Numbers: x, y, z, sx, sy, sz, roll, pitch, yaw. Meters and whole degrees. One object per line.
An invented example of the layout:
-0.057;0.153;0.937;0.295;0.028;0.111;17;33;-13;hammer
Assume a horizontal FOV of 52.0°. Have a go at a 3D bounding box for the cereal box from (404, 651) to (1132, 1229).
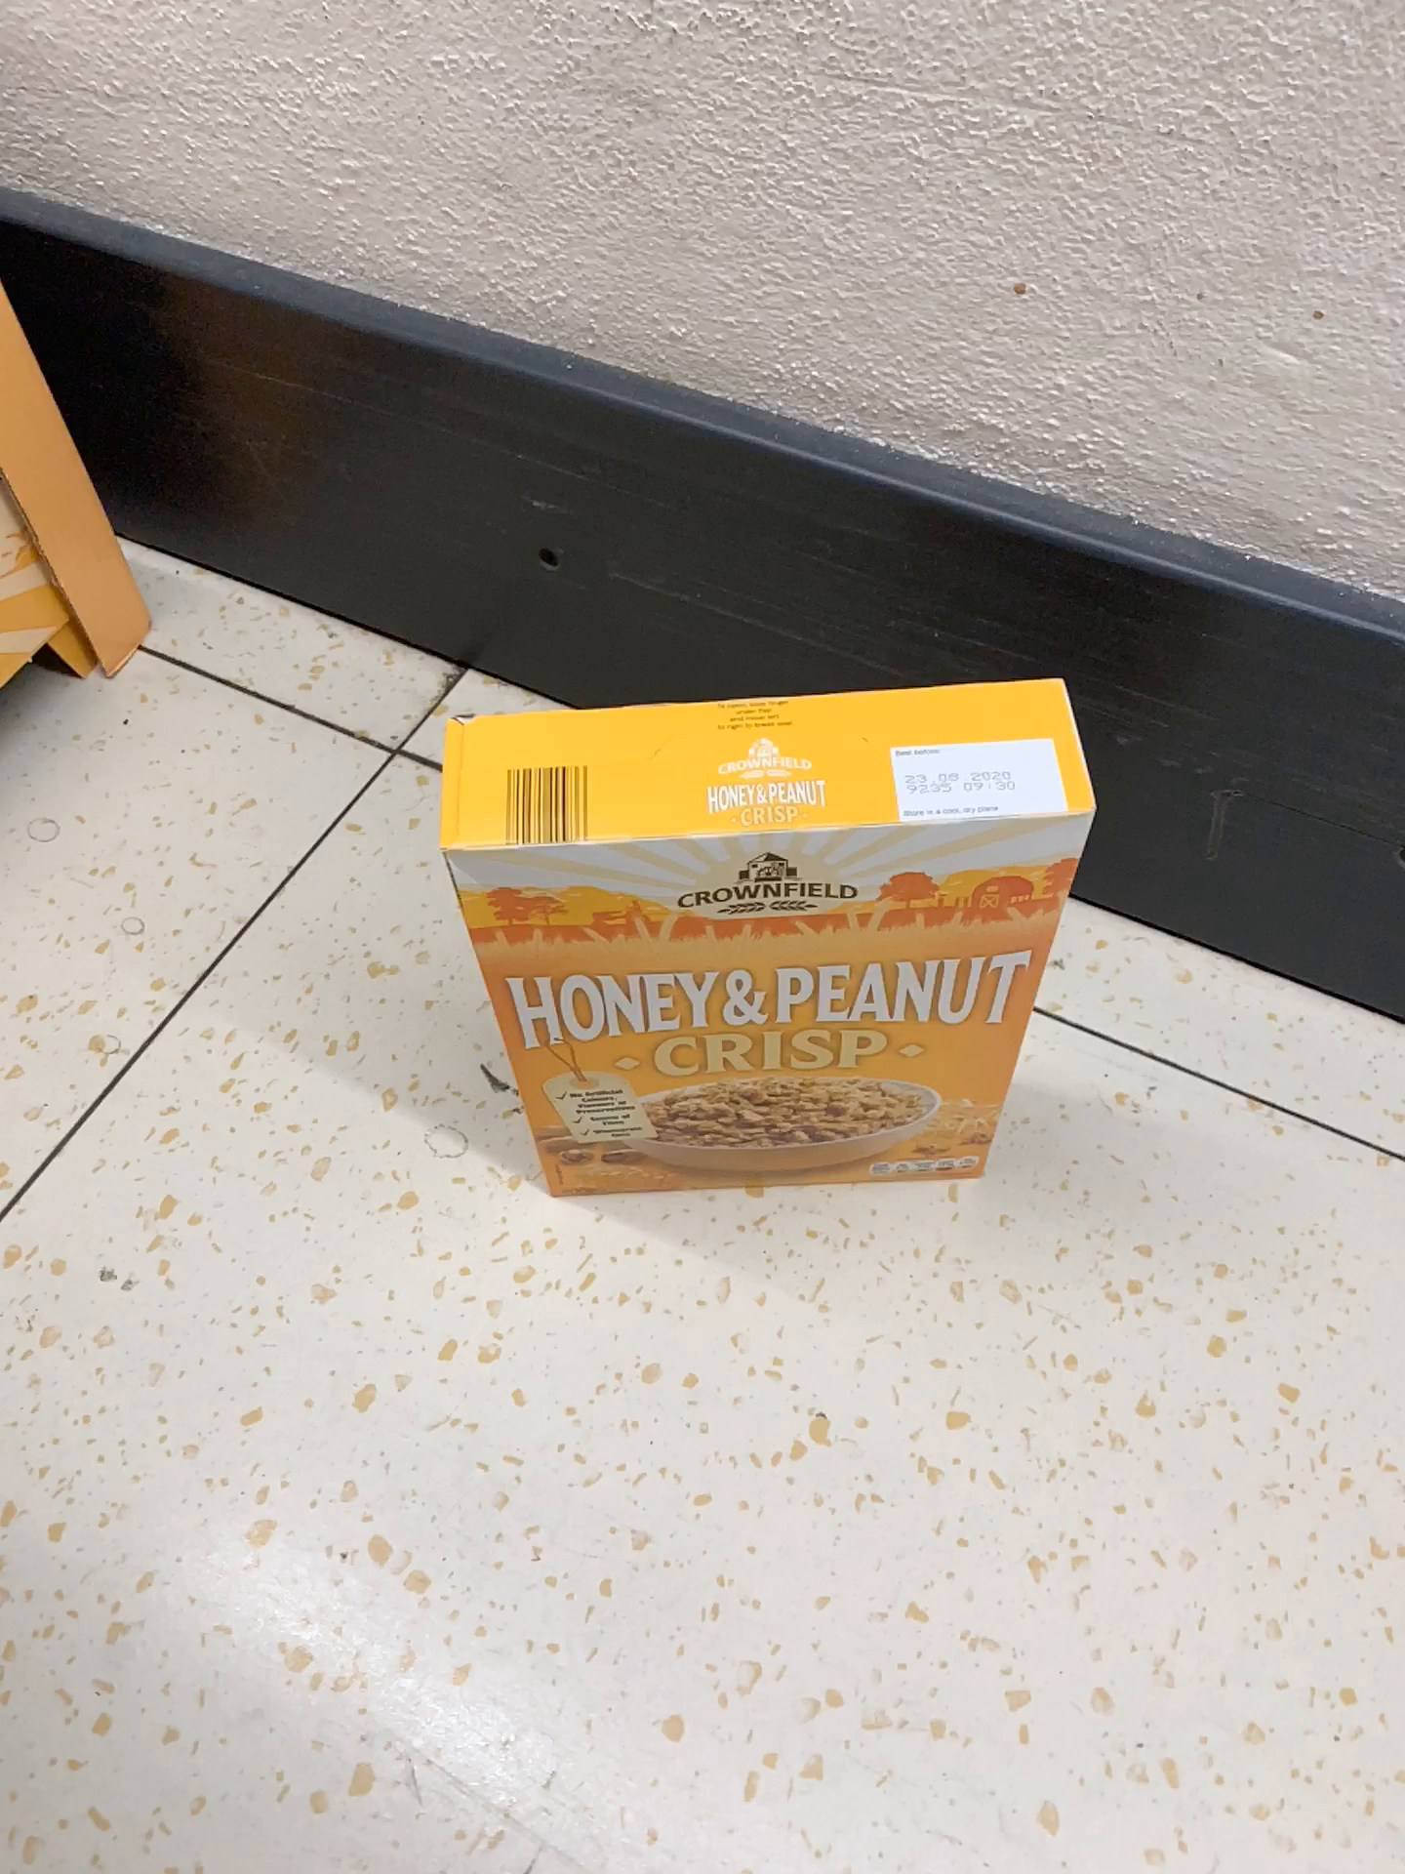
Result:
0.019;0.020;0.501;0.190;0.268;0.050;-4;57;-1;cereal box
